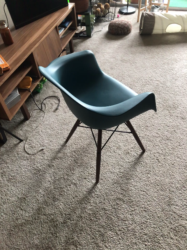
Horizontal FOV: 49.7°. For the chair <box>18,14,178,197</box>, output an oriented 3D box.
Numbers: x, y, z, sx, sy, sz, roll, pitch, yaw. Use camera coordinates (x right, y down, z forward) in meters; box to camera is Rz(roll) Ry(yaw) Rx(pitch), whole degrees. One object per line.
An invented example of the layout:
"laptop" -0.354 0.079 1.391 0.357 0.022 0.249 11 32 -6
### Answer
"chair" 0.028 -0.081 1.247 0.482 0.845 0.571 -34 55 -20
